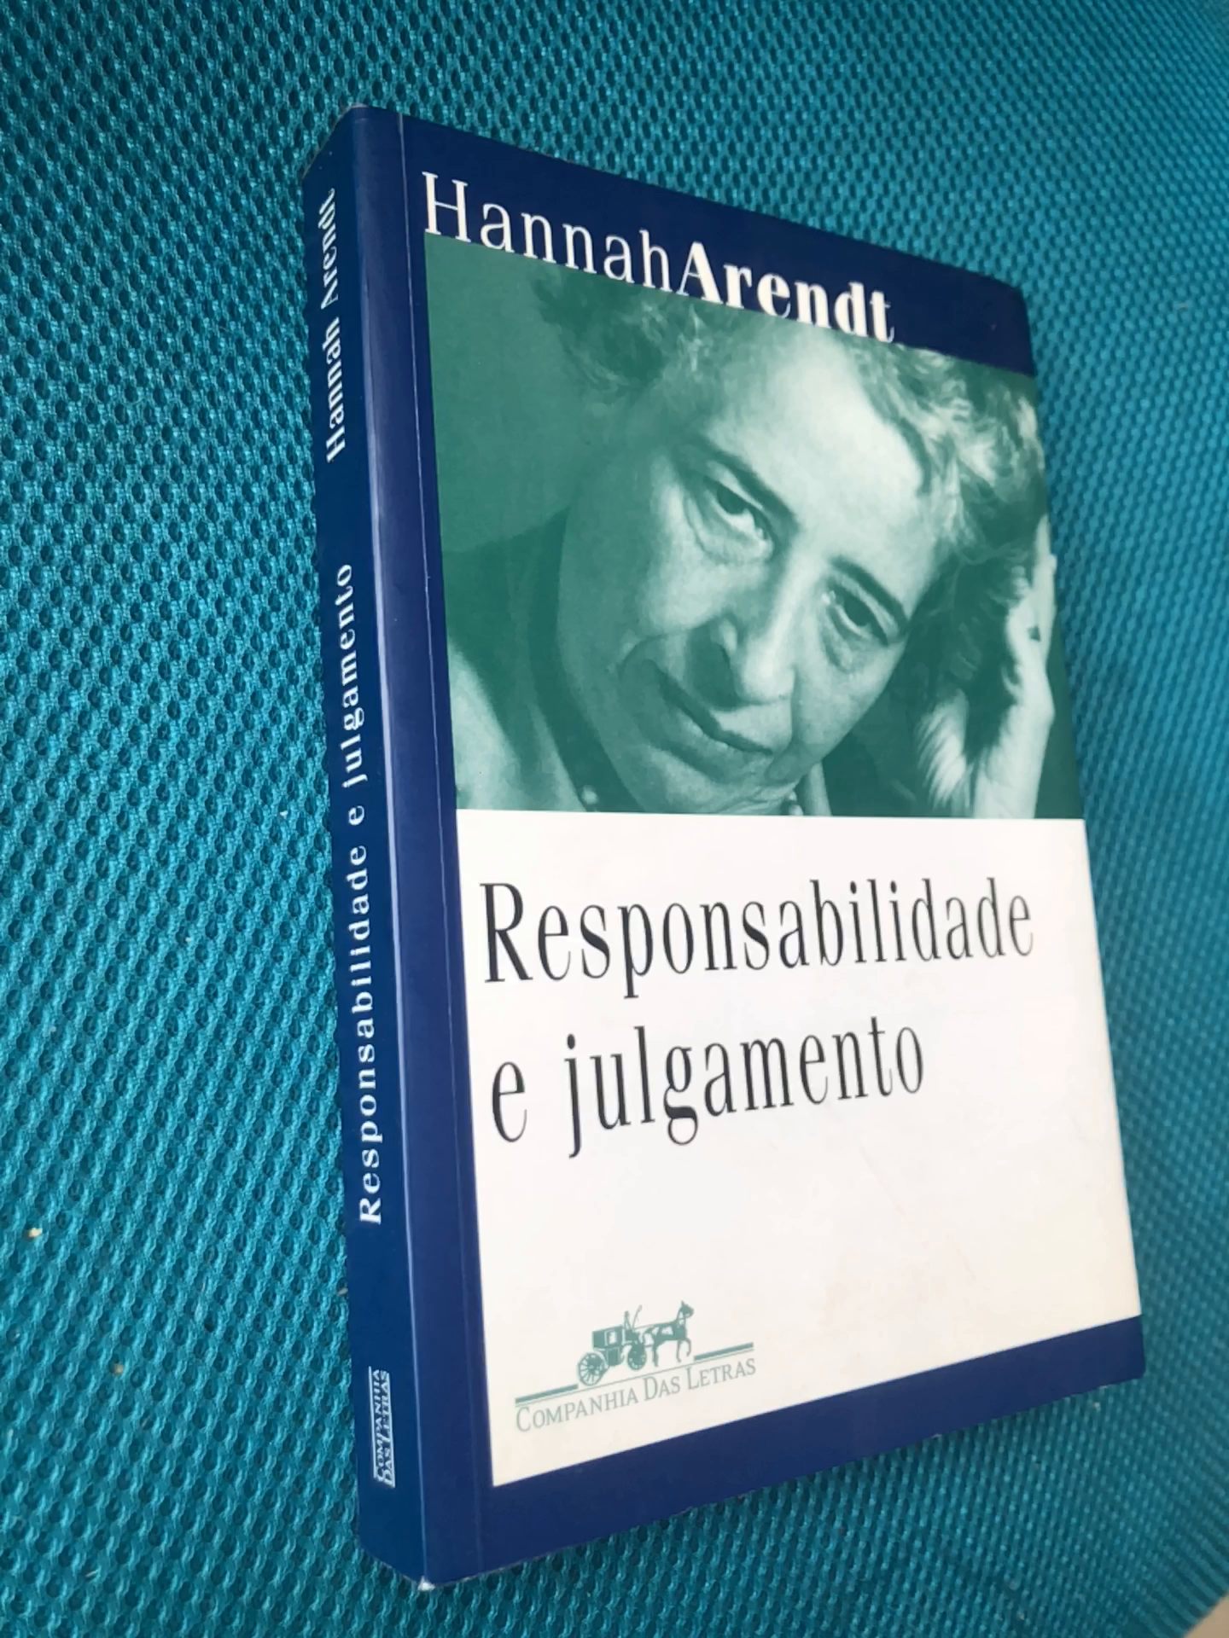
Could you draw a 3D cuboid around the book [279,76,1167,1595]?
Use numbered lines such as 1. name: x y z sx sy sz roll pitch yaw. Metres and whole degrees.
1. book: 0.021 -0.002 0.237 0.142 0.034 0.209 1 81 -30
